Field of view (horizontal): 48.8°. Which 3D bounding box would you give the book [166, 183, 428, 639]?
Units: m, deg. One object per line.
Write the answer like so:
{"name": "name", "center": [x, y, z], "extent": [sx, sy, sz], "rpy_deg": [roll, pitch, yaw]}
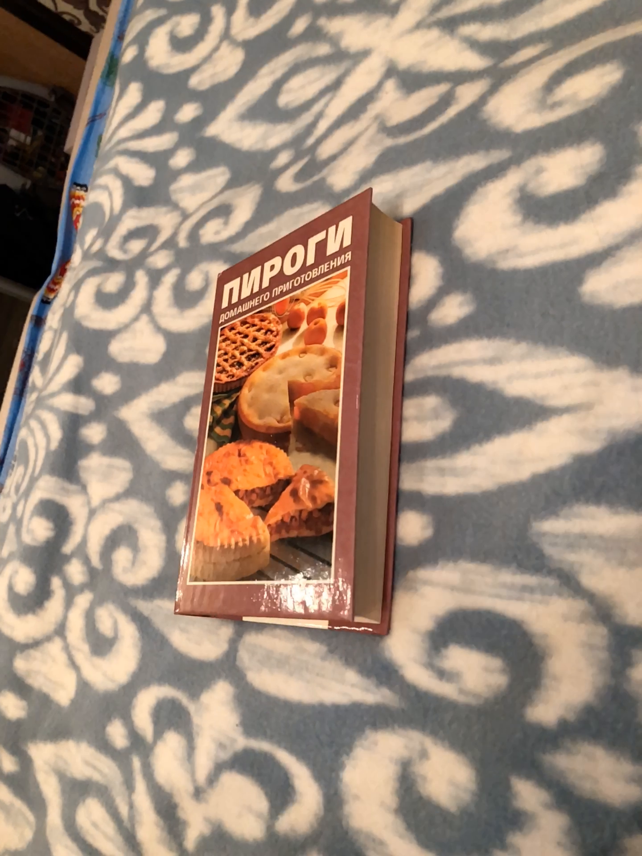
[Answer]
{"name": "book", "center": [-0.013, -0.002, 0.359], "extent": [0.132, 0.040, 0.201], "rpy_deg": [-13, 66, 46]}
